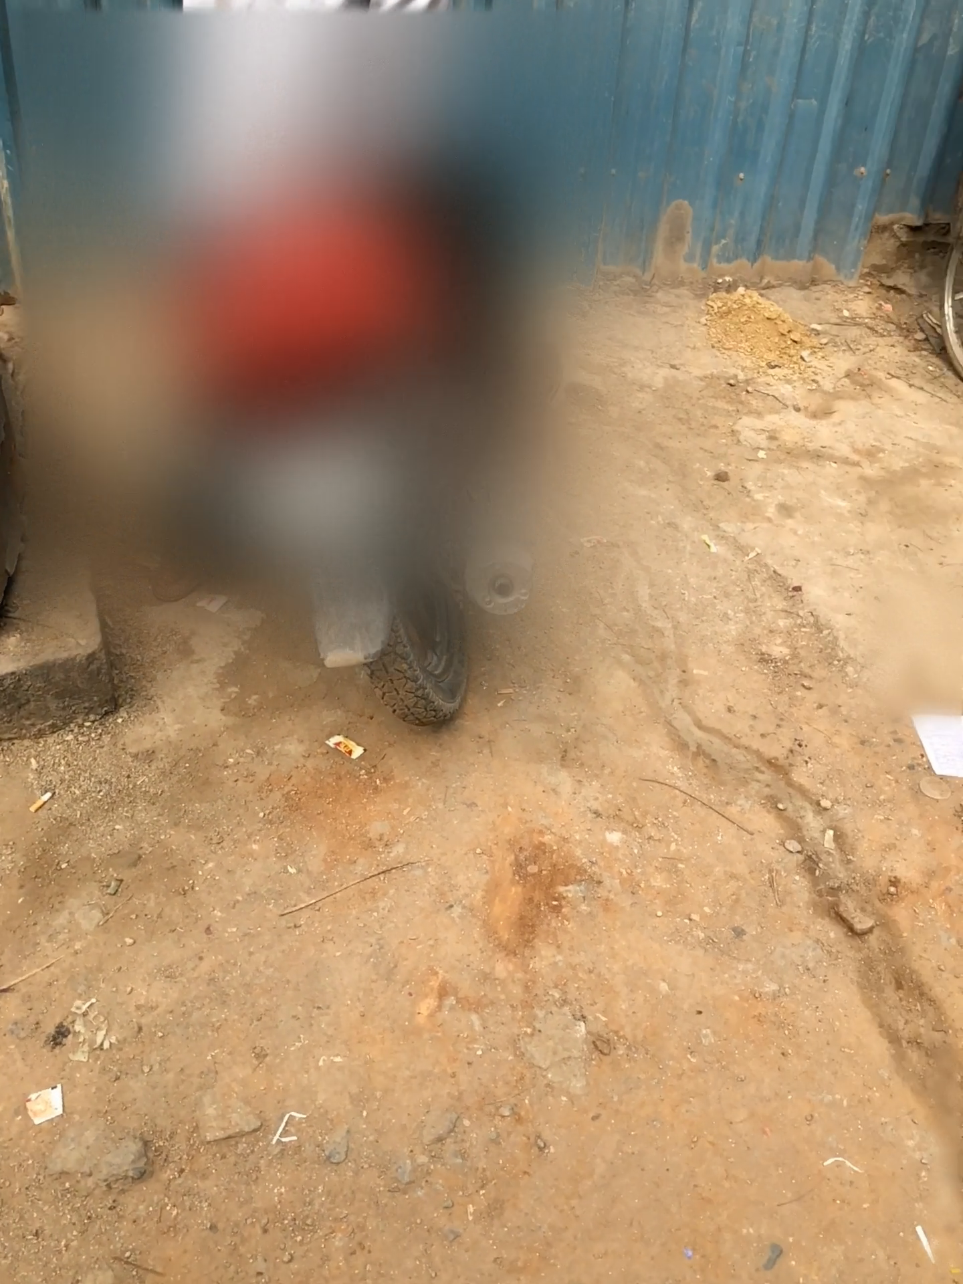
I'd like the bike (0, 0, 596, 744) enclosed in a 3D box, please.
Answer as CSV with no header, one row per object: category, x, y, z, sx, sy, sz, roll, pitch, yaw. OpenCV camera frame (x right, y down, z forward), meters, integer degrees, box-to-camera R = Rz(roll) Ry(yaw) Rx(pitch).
bike,-0.355,-0.878,2.007,0.734,1.129,1.640,0,40,-6
